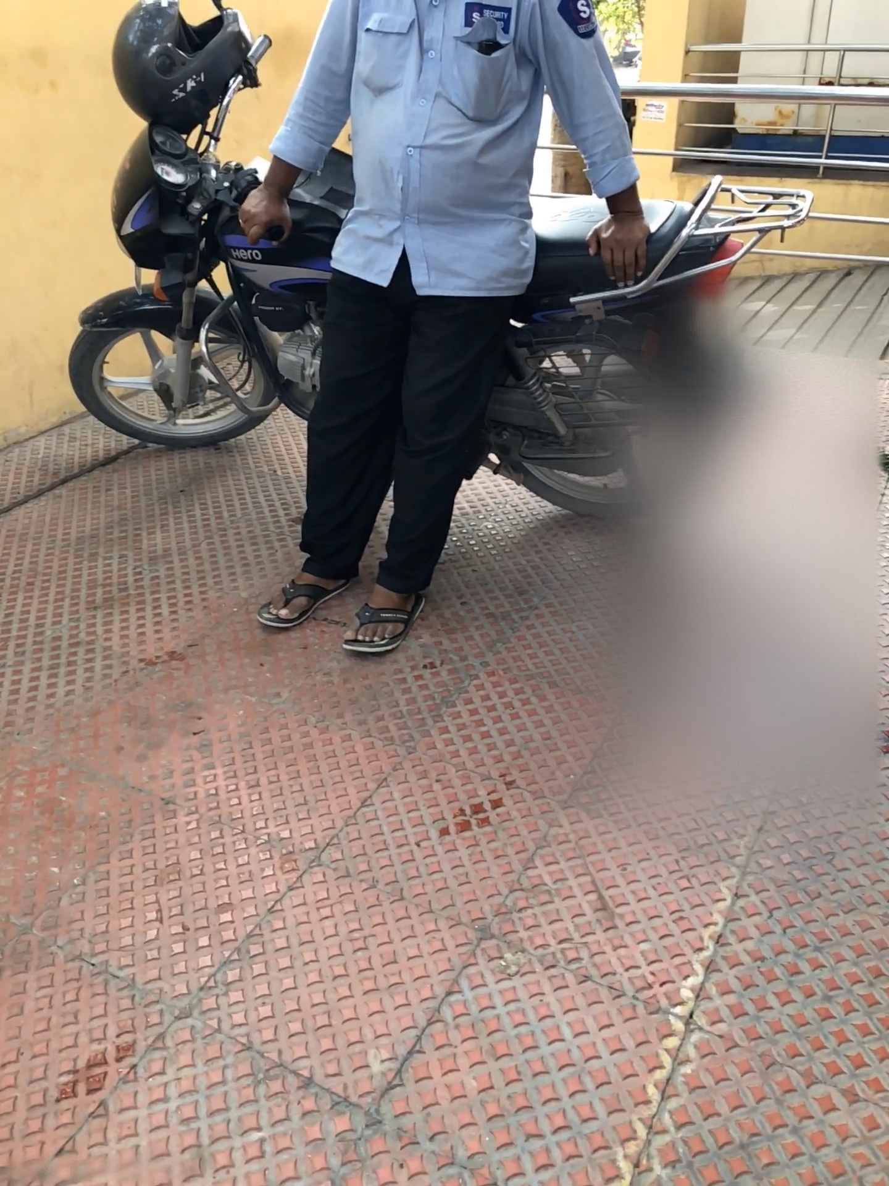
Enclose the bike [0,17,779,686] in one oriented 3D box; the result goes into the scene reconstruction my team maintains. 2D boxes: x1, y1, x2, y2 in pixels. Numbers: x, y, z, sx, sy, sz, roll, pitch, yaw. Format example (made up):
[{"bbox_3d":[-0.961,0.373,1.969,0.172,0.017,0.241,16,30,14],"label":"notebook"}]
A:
[{"bbox_3d":[-0.253,-0.624,2.101,1.672,1.007,0.927,10,32,14],"label":"bike"}]
